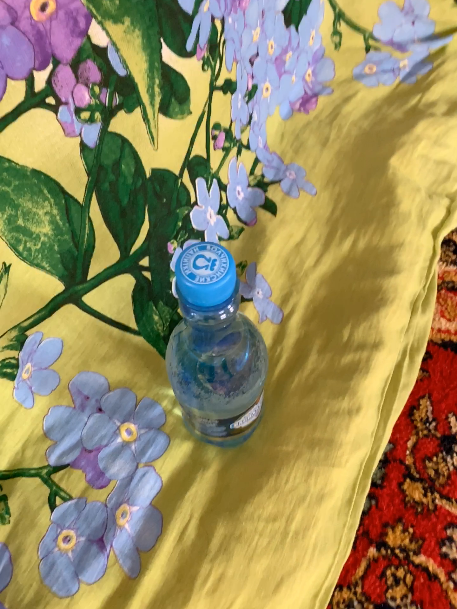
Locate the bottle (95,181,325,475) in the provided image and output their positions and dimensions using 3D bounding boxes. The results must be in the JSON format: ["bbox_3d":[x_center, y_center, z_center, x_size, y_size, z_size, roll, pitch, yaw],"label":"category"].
[{"bbox_3d":[-0.005,0.037,0.308,0.070,0.219,0.080,31,66,17],"label":"bottle"}]
